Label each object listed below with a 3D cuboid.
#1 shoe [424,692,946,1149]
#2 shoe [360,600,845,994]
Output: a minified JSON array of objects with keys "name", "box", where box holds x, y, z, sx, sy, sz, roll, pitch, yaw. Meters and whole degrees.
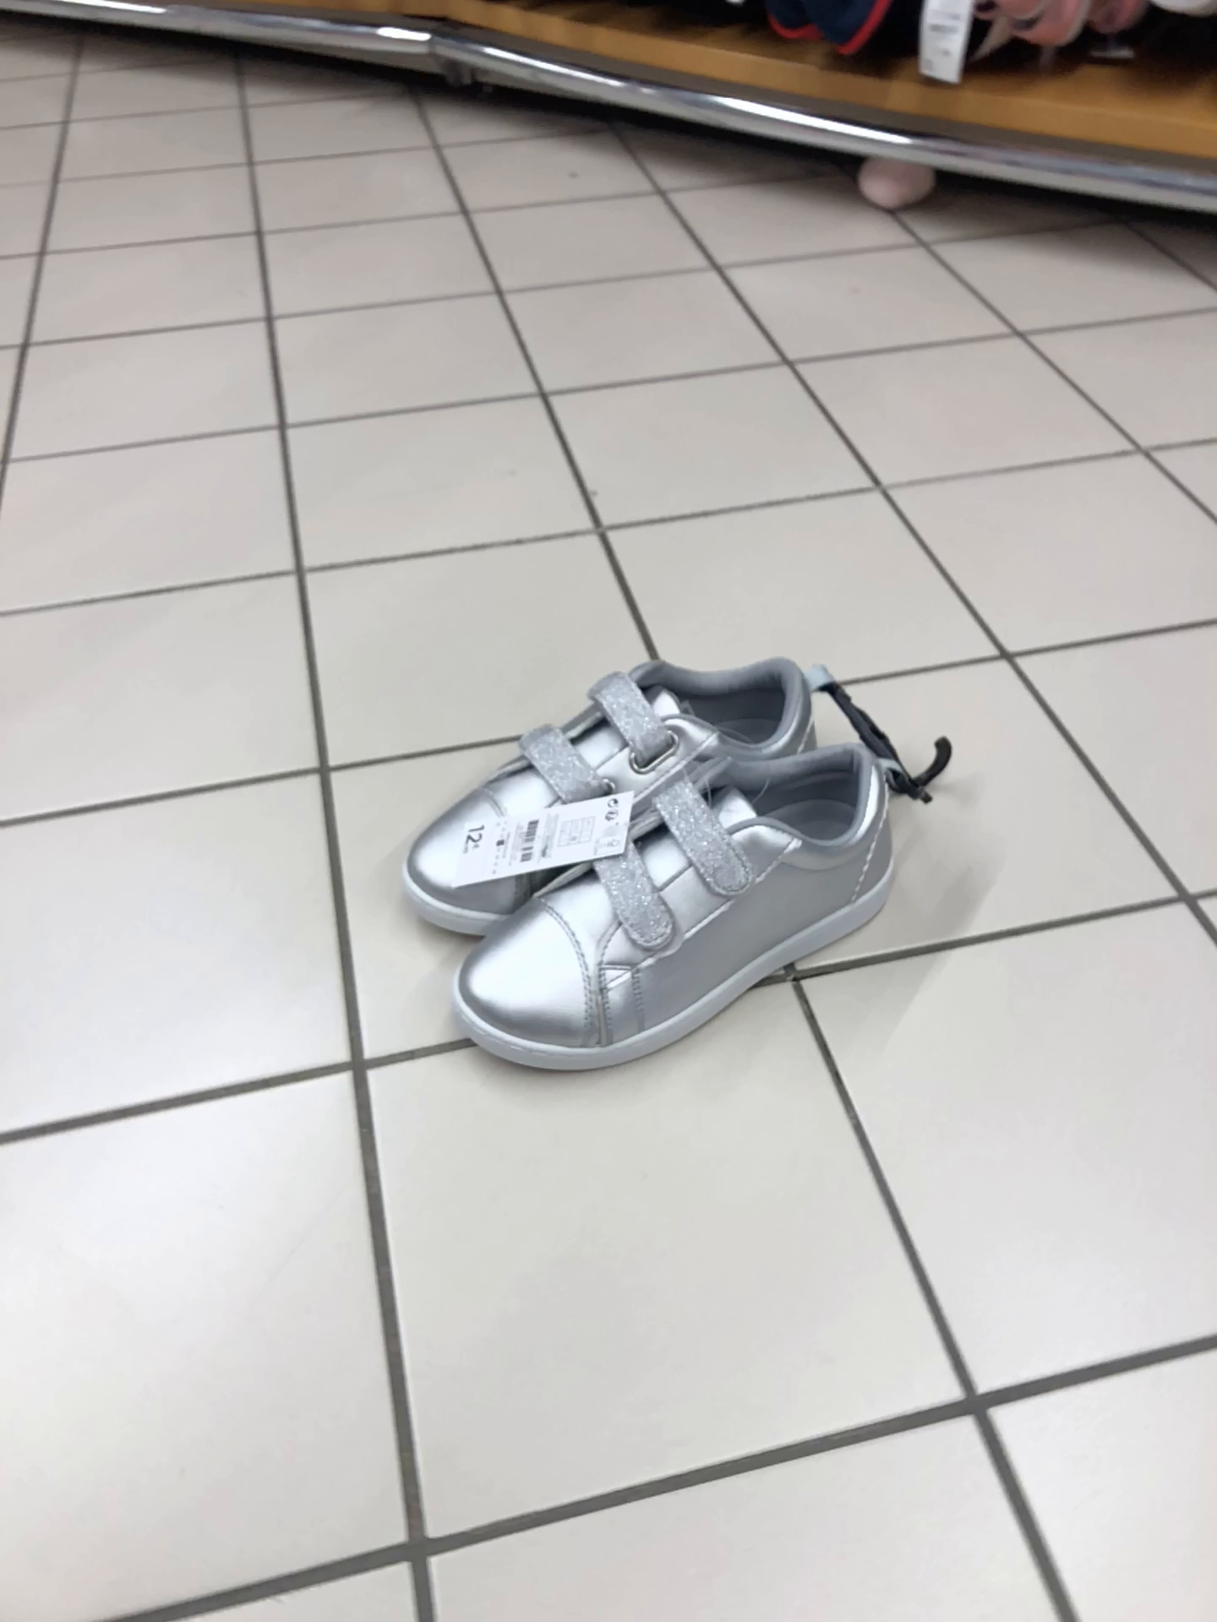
[{"name":"shoe","box":[0.037,0.043,0.610,0.216,0.085,0.091,-27,49,-25]},{"name":"shoe","box":[0.001,-0.013,0.666,0.215,0.085,0.091,-24,48,-23]}]
